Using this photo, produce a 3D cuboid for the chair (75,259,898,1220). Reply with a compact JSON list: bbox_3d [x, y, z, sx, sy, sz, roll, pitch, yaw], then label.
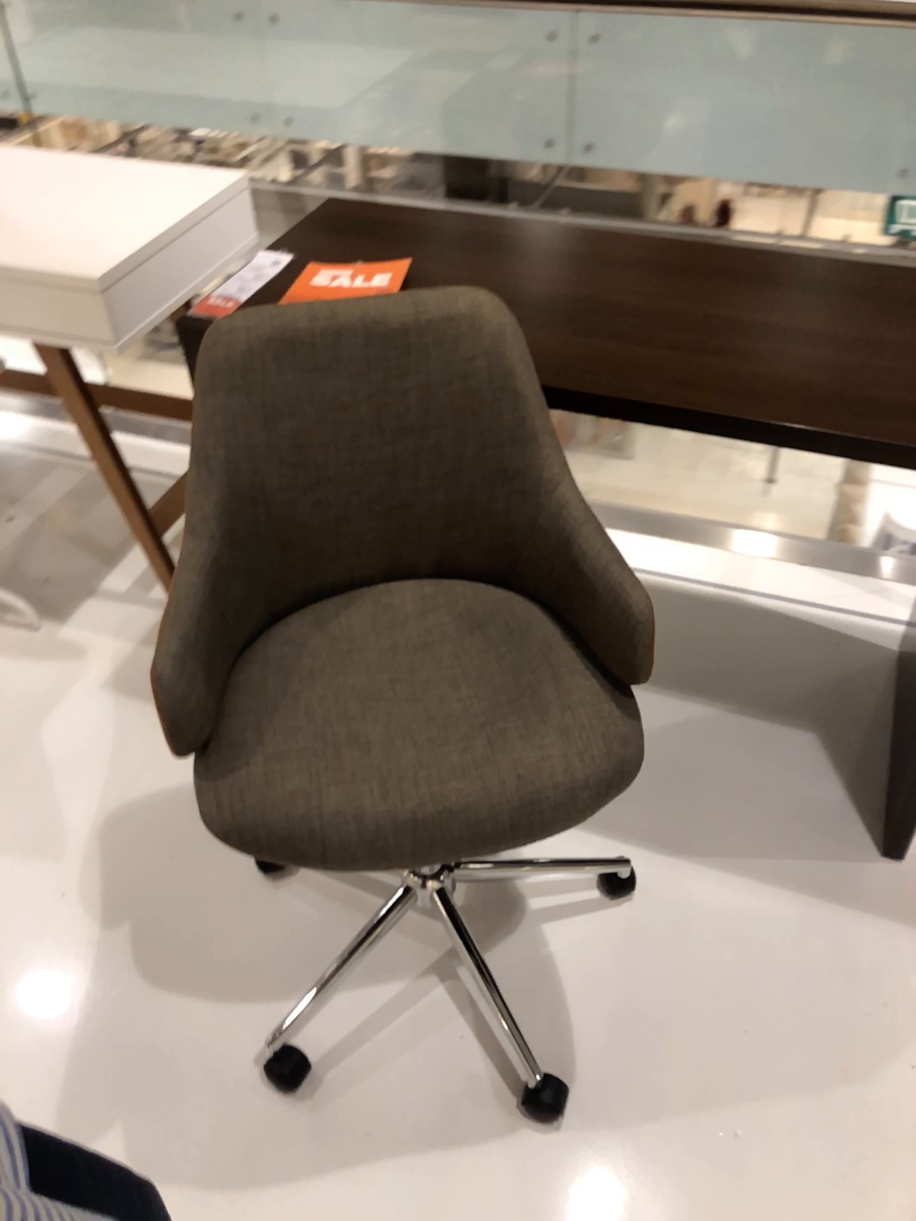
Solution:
[{"bbox_3d":[-0.022,0.159,1.279,0.610,0.884,0.705,-10,42,-8],"label":"chair"}]
